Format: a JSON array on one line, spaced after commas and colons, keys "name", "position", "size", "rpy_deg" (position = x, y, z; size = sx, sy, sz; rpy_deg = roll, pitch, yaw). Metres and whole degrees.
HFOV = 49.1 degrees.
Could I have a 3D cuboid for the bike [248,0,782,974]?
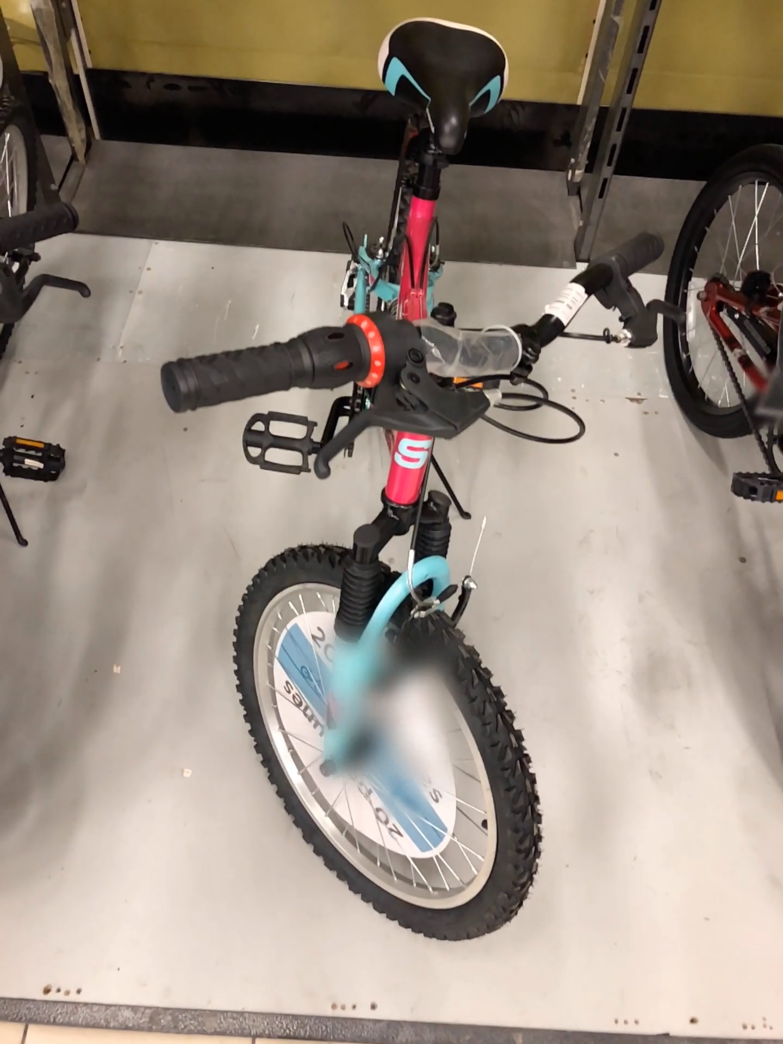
[{"name": "bike", "position": [0.135, -0.163, 1.109], "size": [0.562, 0.765, 1.219], "rpy_deg": [-2, 58, -4]}]
